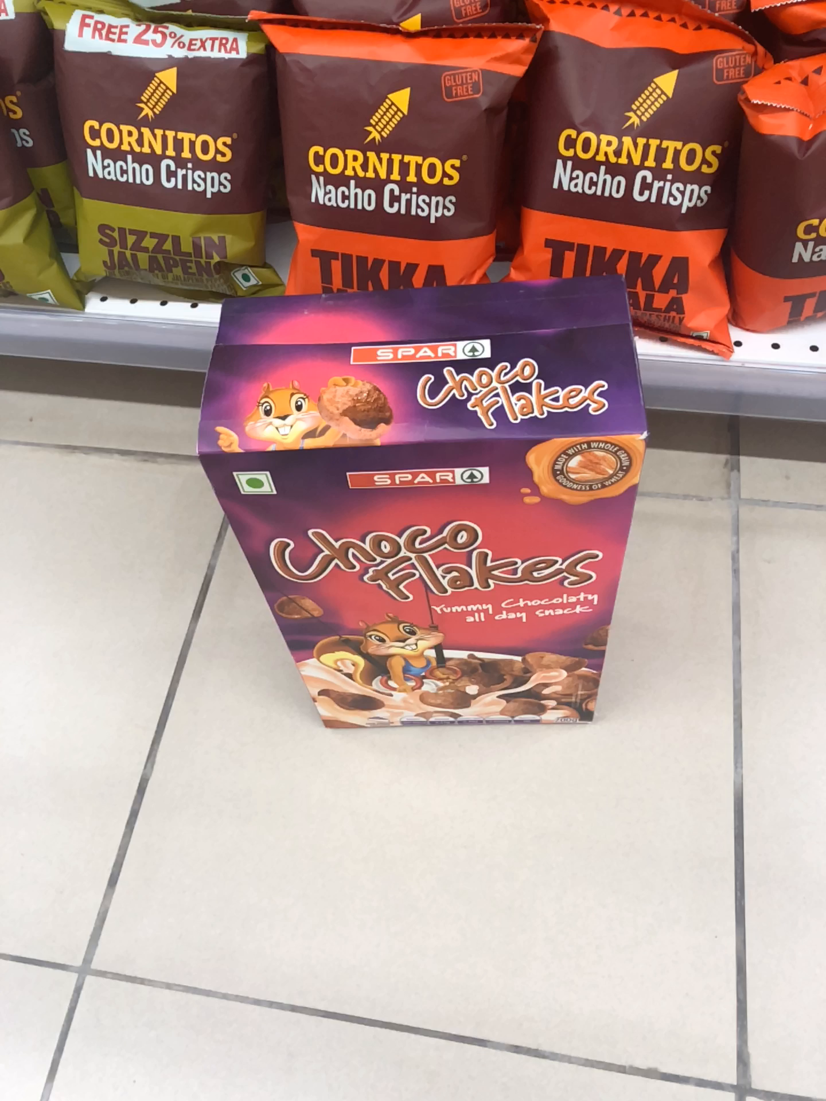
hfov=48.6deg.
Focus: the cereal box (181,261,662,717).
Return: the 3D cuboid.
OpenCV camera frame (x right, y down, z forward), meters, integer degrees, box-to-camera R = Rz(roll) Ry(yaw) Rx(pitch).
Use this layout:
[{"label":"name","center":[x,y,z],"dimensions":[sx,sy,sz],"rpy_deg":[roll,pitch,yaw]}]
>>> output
[{"label":"cereal box","center":[0.017,-0.004,0.548],"dimensions":[0.200,0.339,0.090],"rpy_deg":[-2,60,5]}]
